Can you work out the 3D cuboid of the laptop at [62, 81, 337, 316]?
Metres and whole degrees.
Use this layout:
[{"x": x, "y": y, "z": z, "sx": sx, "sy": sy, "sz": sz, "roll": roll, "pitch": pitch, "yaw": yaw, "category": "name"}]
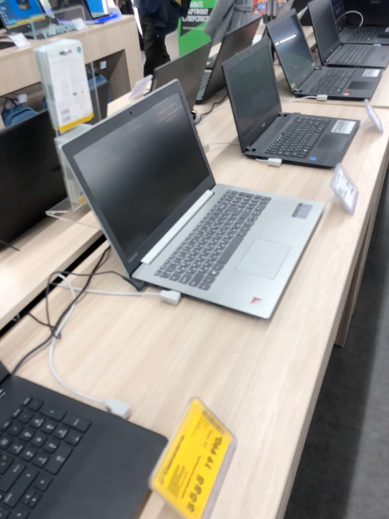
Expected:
[{"x": 0.039, "y": -0.151, "z": 0.792, "sx": 0.343, "sy": 0.234, "sz": 0.381, "roll": 14, "pitch": 40, "yaw": 22, "category": "laptop"}]
